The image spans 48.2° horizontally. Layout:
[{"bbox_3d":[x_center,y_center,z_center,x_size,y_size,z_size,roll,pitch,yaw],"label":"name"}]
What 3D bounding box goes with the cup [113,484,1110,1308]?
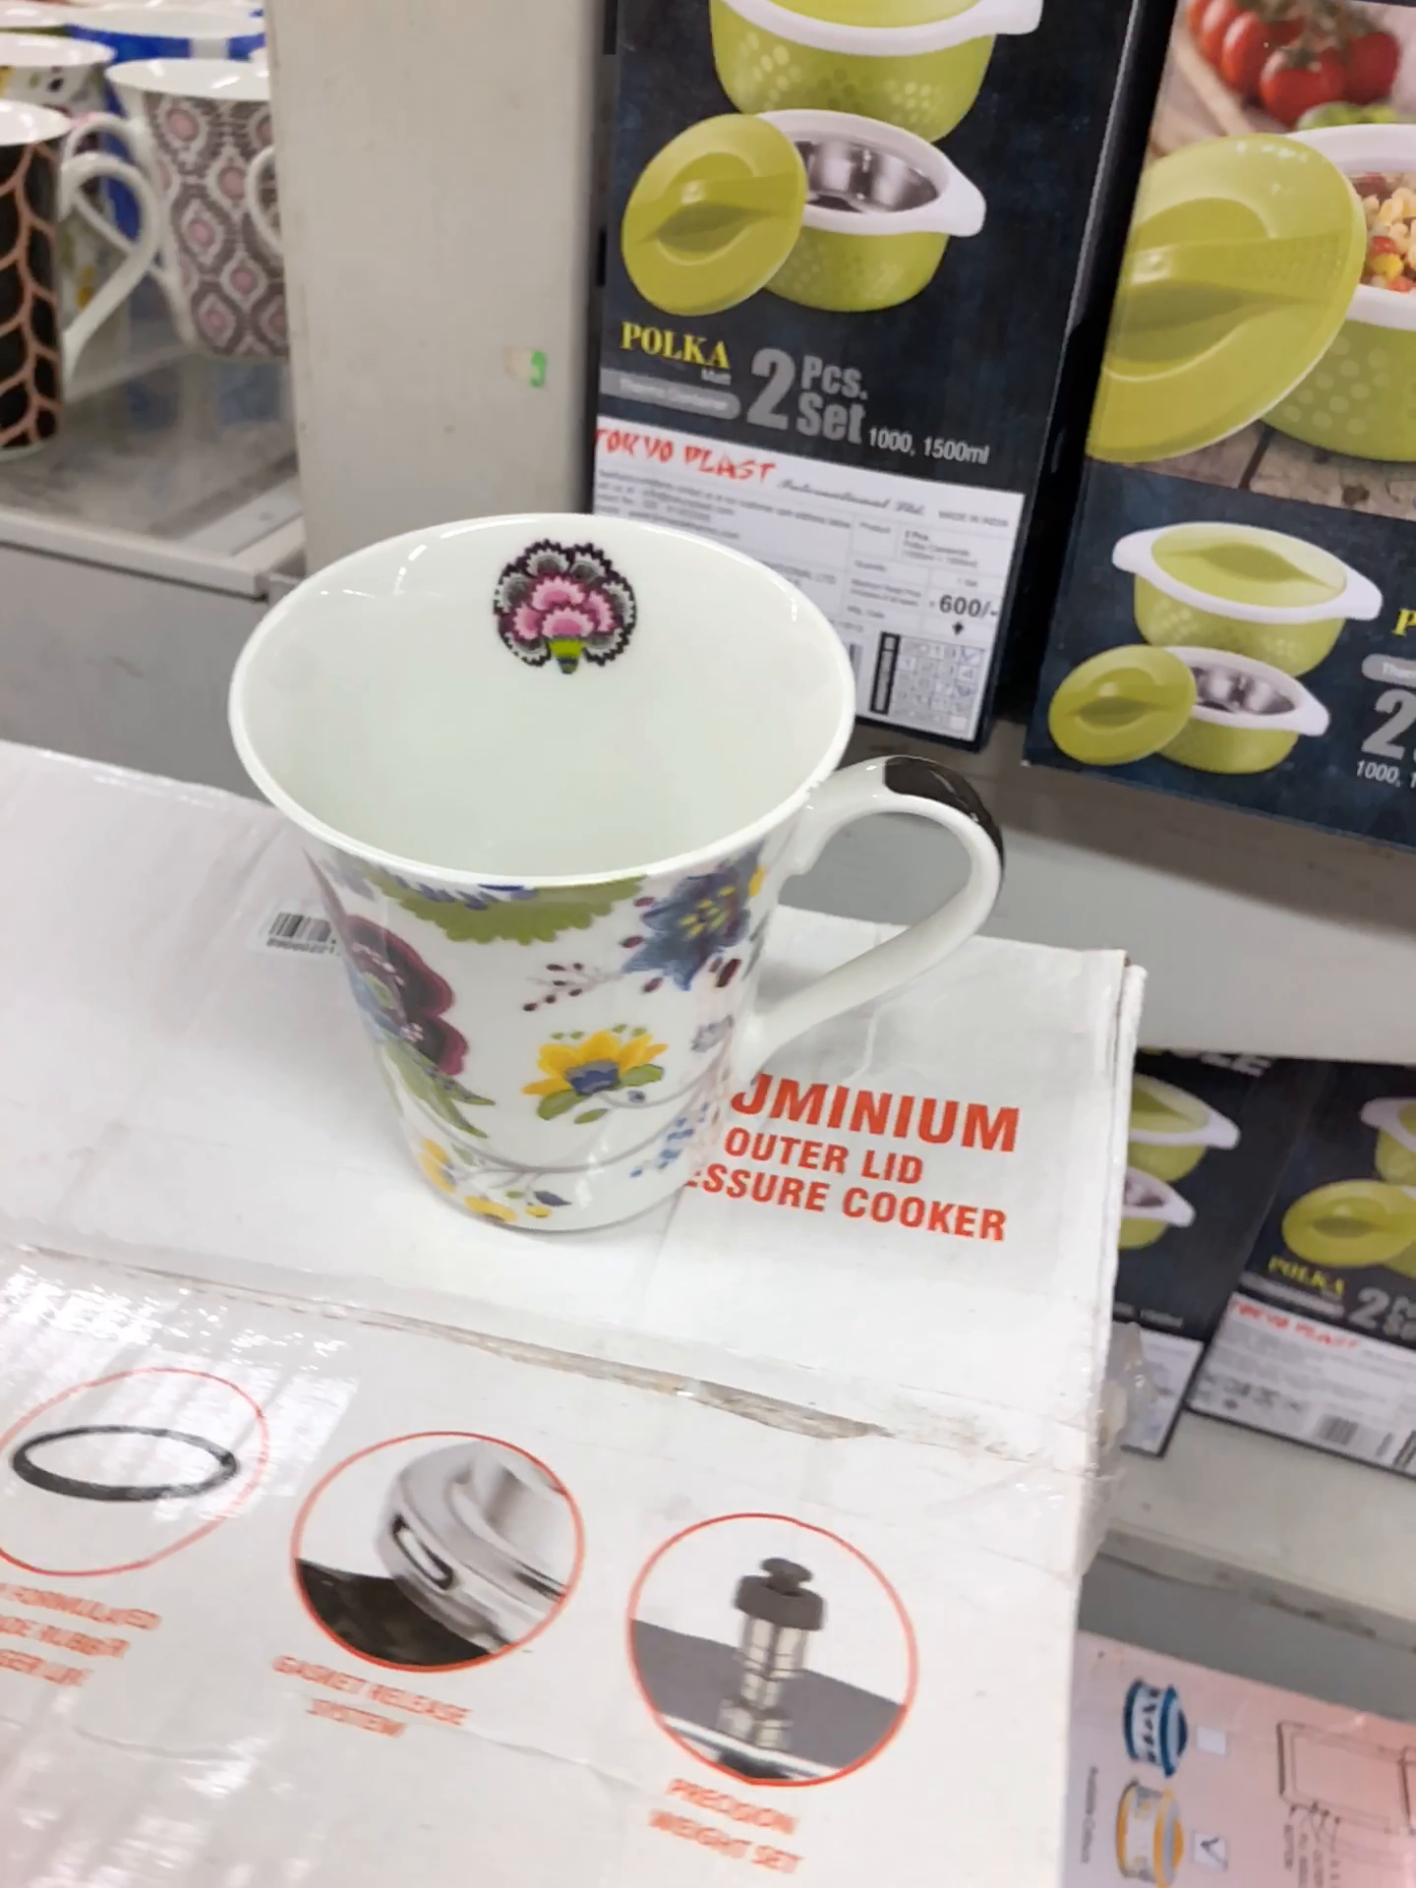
[{"bbox_3d":[-0.012,-0.006,0.250,0.120,0.089,0.081,5,46,-1],"label":"cup"}]
